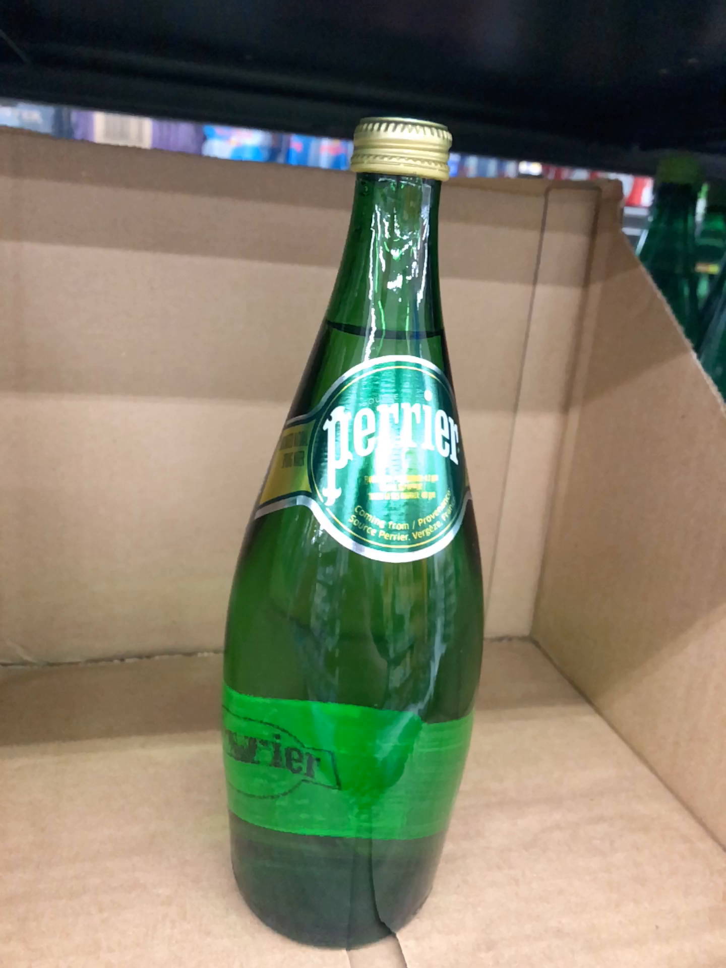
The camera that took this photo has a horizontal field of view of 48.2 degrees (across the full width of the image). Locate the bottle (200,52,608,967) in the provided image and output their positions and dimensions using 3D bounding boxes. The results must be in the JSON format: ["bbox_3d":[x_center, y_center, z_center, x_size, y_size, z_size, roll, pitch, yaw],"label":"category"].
[{"bbox_3d":[-0.002,0.018,0.271,0.090,0.269,0.080,1,17,-15],"label":"bottle"}]

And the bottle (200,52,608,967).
[{"bbox_3d":[-0.002,0.018,0.271,0.090,0.269,0.080,1,17,-15],"label":"bottle"}]
